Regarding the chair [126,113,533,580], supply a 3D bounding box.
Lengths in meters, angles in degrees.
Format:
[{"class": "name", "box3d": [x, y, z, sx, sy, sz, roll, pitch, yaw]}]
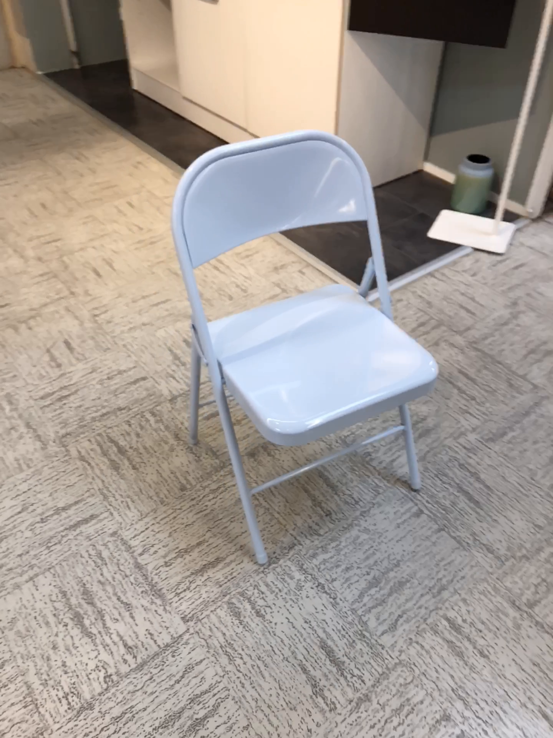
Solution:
[{"class": "chair", "box3d": [0.065, -0.053, 1.262, 0.512, 0.706, 0.481, -20, 46, -22]}]
